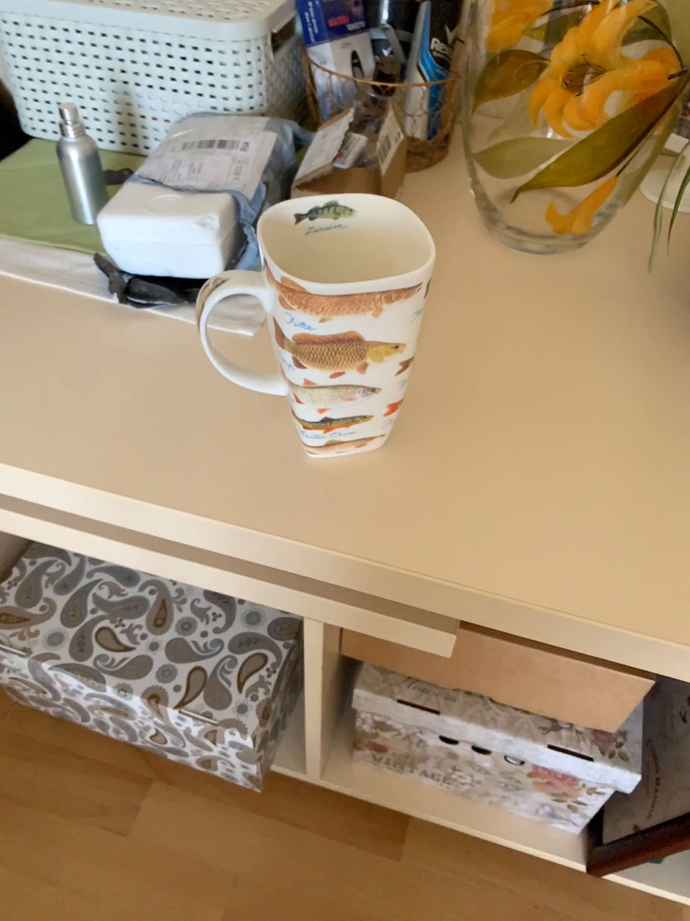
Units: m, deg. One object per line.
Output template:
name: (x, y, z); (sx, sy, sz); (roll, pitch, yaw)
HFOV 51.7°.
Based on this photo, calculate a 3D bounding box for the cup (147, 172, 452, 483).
cup: (-0.030, -0.076, 0.407); (0.140, 0.129, 0.101); (-7, 47, -10)
